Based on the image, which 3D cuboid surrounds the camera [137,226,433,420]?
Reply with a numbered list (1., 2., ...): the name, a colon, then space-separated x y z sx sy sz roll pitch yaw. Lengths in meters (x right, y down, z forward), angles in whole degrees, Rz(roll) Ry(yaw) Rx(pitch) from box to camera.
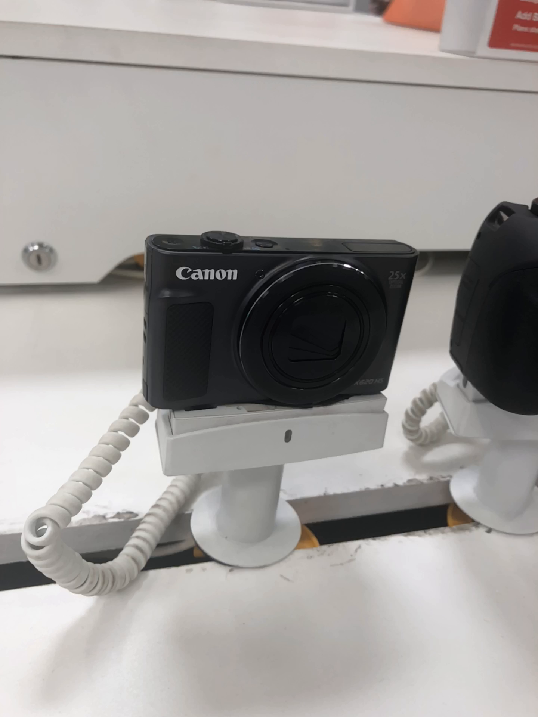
1. camera: 0.003 -0.013 0.211 0.093 0.057 0.025 -3 32 -19
